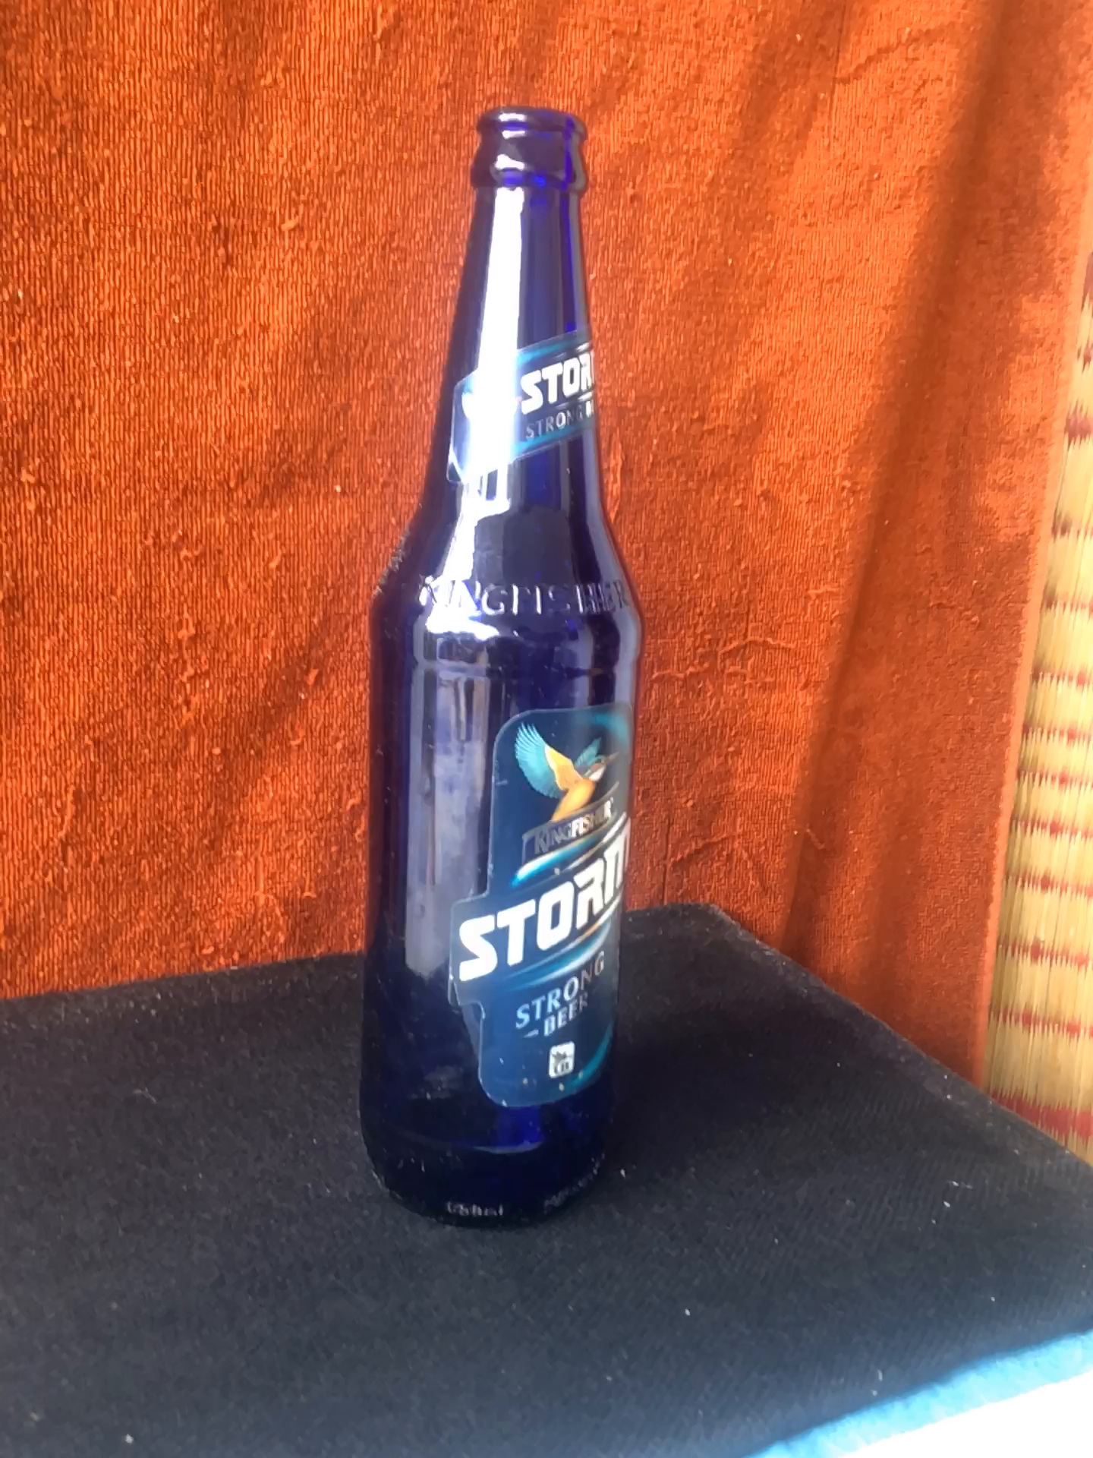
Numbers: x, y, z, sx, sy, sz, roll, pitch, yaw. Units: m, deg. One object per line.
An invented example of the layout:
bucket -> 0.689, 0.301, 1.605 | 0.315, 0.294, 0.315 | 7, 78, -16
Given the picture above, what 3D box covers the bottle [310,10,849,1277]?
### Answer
bottle -> -0.001, -0.014, 0.314 | 0.080, 0.279, 0.080 | 5, 15, -1
